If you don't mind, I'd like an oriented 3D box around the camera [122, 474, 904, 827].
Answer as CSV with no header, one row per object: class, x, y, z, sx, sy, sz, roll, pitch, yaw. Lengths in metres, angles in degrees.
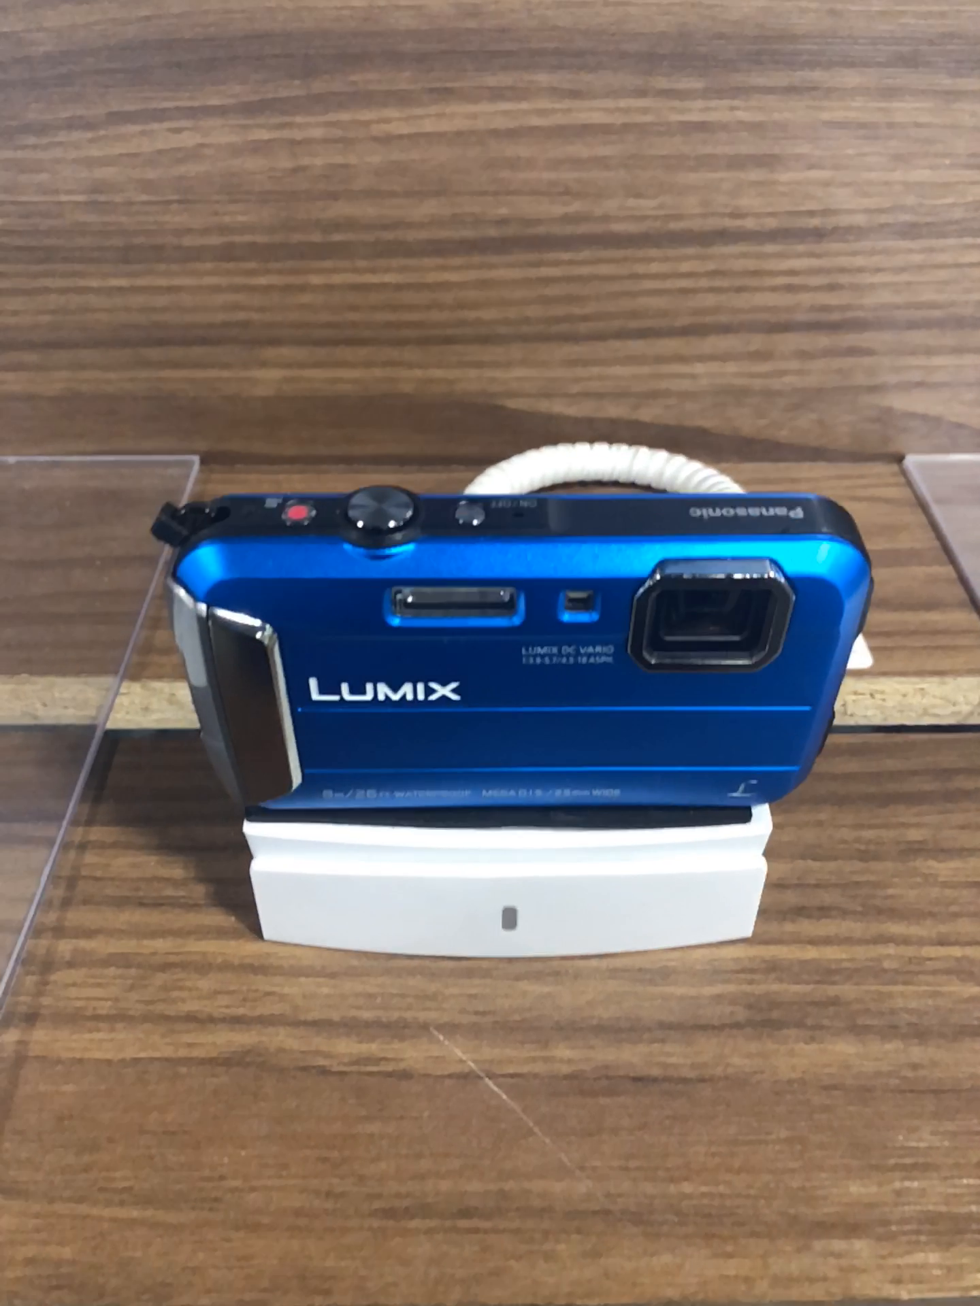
camera,0.003,0.001,0.166,0.100,0.051,0.023,-1,45,-1
